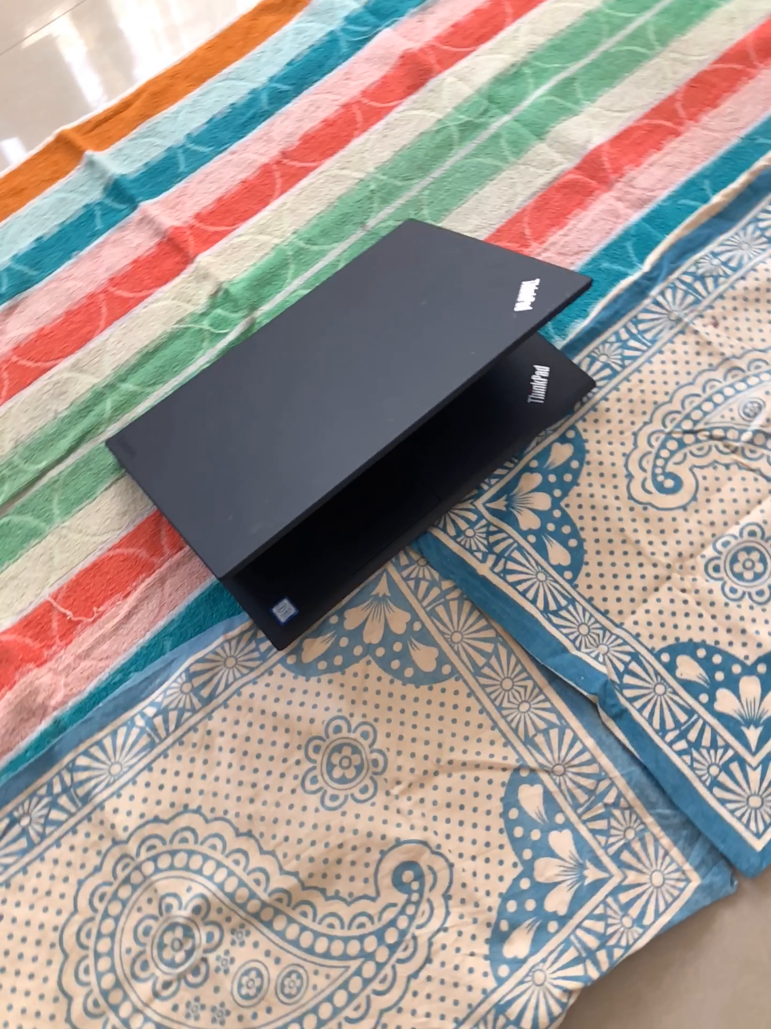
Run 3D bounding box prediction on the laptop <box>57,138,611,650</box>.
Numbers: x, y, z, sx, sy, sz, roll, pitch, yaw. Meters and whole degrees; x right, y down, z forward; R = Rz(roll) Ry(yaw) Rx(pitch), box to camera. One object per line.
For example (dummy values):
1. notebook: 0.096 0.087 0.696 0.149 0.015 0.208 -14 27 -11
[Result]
1. laptop: -0.036 -0.107 0.688 0.346 0.121 0.243 -39 69 -14
